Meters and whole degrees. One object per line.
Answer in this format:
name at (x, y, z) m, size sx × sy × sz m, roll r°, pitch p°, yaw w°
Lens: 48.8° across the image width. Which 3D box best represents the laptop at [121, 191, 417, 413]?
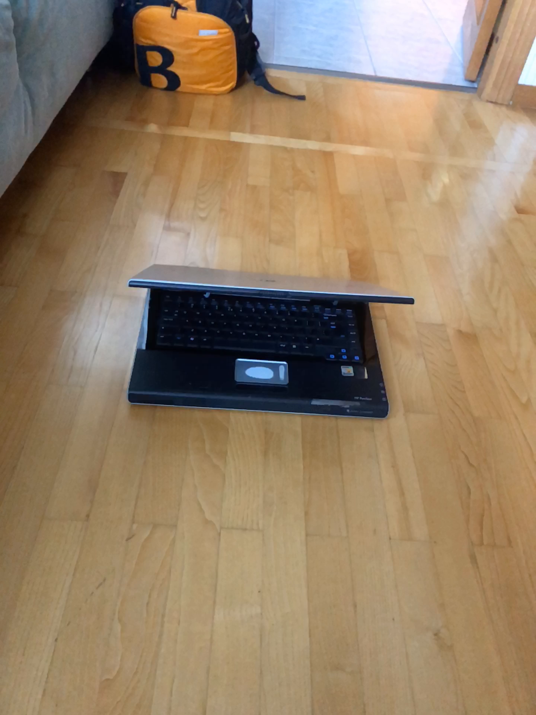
laptop at (-0.003, -0.085, 0.860) m, size 0.362 × 0.147 × 0.270 m, roll 4°, pitch 46°, yaw -5°
